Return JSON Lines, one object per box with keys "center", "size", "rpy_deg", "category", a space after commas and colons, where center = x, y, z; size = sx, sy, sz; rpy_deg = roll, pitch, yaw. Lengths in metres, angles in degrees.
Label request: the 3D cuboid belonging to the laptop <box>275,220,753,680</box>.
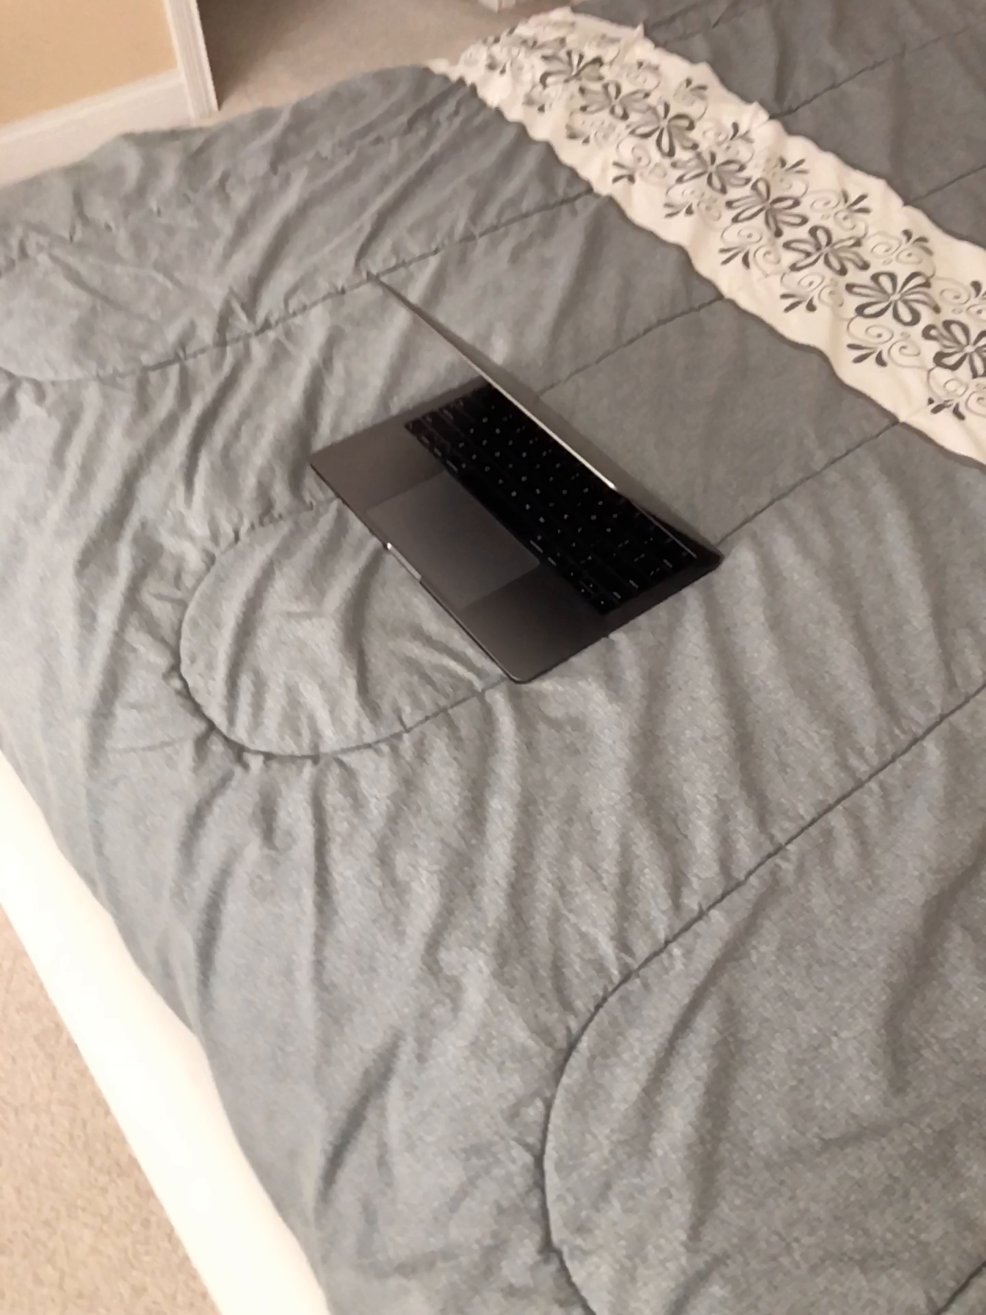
{"center": [0.008, -0.161, 0.785], "size": [0.195, 0.140, 0.279], "rpy_deg": [-30, 57, -22], "category": "laptop"}
